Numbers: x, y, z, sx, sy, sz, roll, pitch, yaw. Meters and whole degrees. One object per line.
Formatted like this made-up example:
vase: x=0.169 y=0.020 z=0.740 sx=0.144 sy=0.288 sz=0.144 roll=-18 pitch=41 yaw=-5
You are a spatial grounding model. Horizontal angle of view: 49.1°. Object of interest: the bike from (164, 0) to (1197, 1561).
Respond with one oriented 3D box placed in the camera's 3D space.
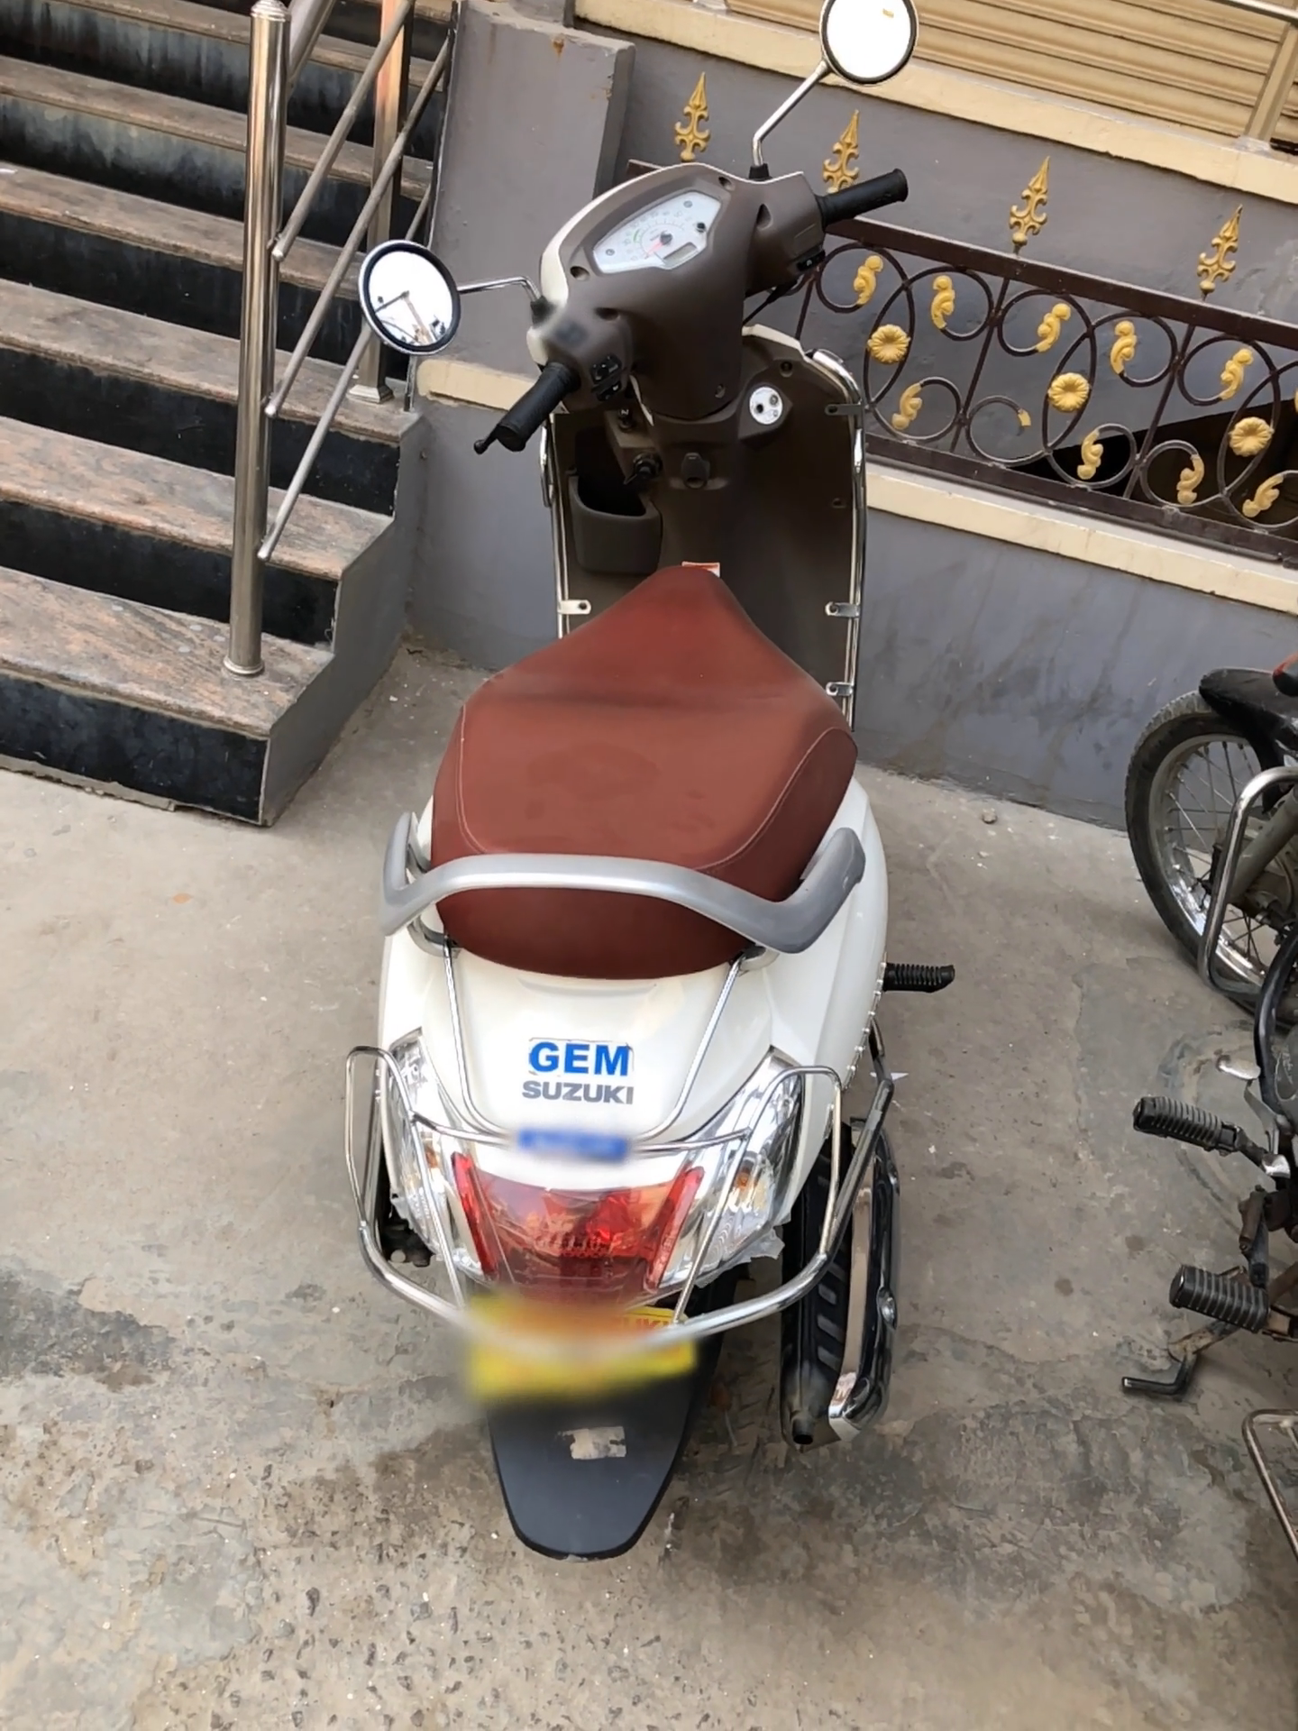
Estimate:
bike: x=-0.057 y=-0.271 z=1.751 sx=0.597 sy=1.194 sz=1.494 roll=11 pitch=35 yaw=-5
